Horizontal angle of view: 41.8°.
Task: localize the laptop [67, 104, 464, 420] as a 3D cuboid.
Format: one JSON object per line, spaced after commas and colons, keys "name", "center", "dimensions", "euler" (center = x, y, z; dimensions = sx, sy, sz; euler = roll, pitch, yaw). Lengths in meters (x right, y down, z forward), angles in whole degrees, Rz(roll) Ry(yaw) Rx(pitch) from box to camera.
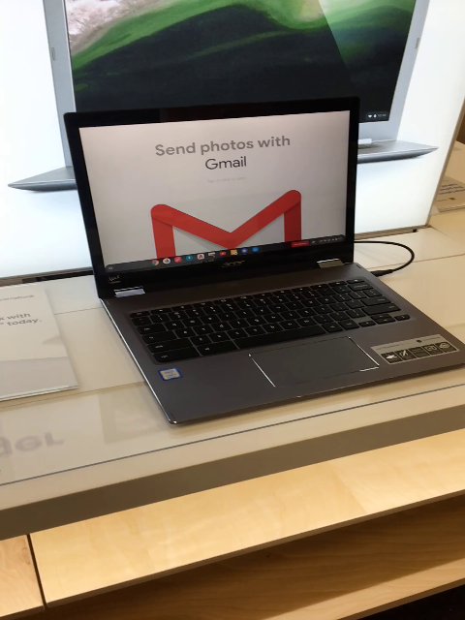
{"name": "laptop", "center": [0.042, -0.069, 0.621], "dimensions": [0.320, 0.202, 0.271], "euler": [-12, 39, -19]}
